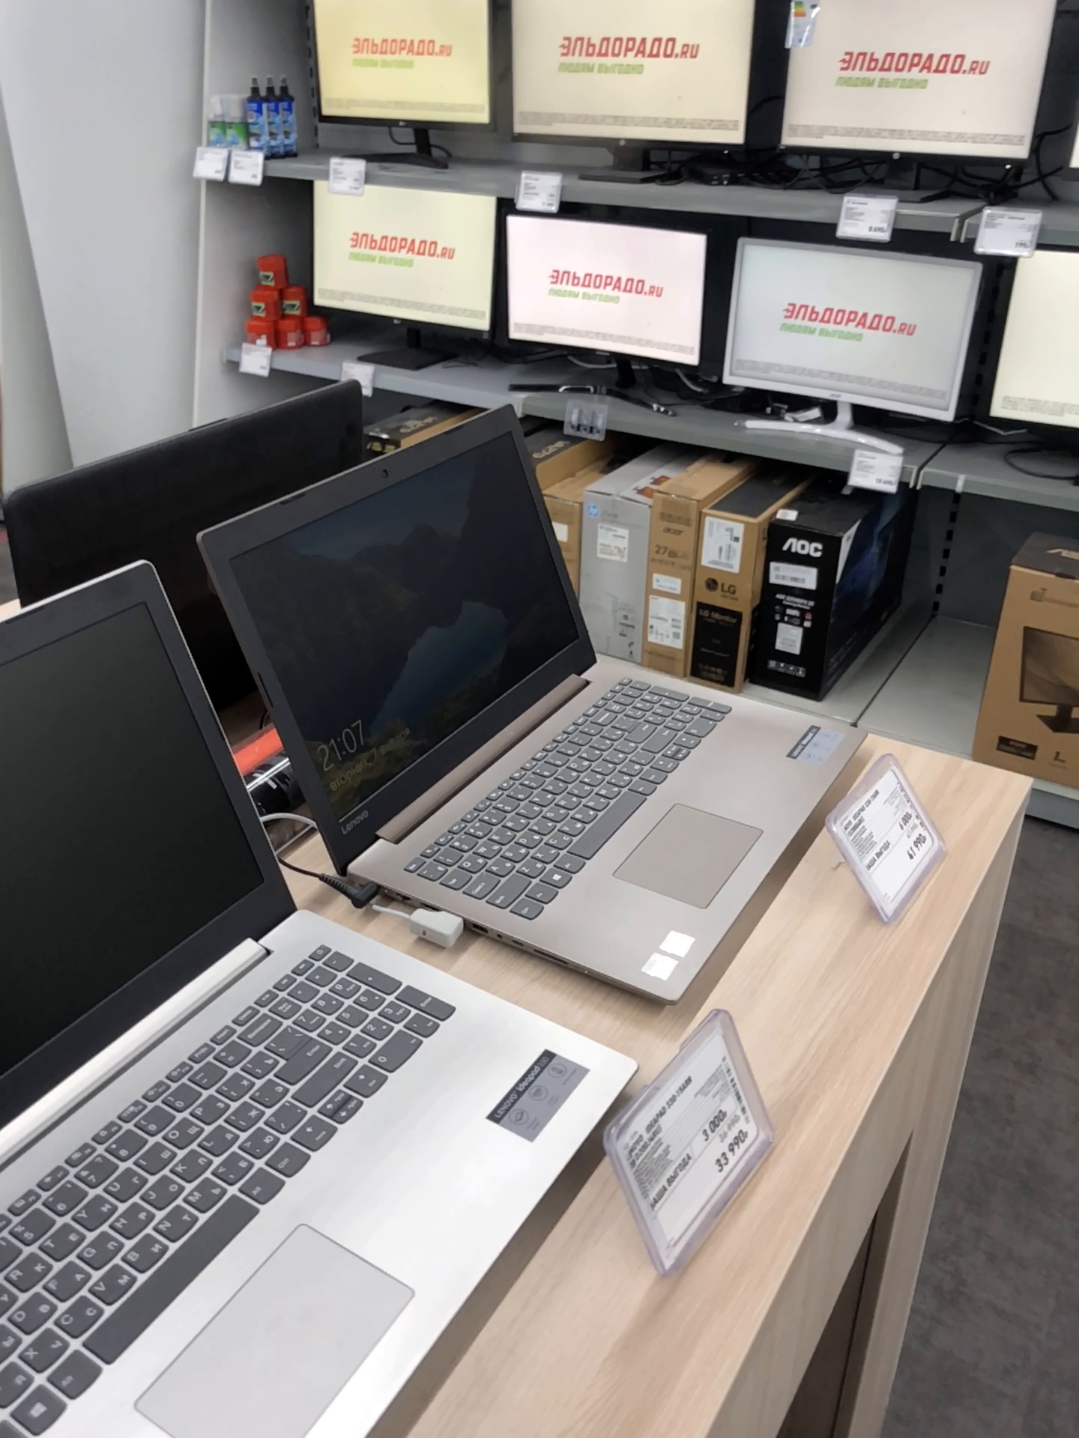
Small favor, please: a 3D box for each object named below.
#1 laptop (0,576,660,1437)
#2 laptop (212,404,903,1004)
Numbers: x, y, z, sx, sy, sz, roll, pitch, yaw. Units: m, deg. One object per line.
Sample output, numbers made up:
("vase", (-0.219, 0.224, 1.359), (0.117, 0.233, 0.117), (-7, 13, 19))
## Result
("laptop", (-0.177, 0.117, 0.520), (0.323, 0.207, 0.344), (16, 32, 25))
("laptop", (0.028, -0.050, 0.831), (0.328, 0.209, 0.352), (17, 34, 26))
